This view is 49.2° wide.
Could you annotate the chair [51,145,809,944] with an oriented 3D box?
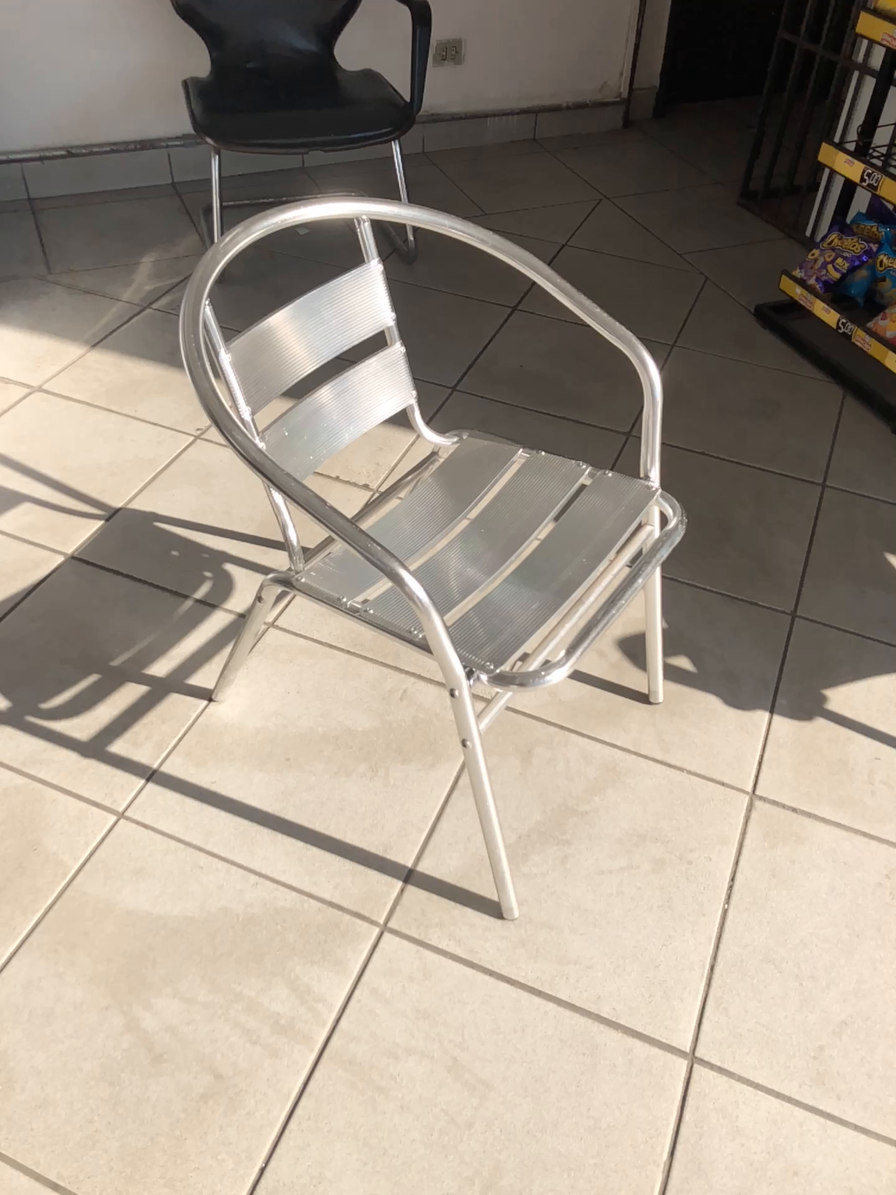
[{"bbox_3d":[-0.016,-0.087,1.293,0.631,0.705,0.523,26,48,23],"label":"chair"}]
